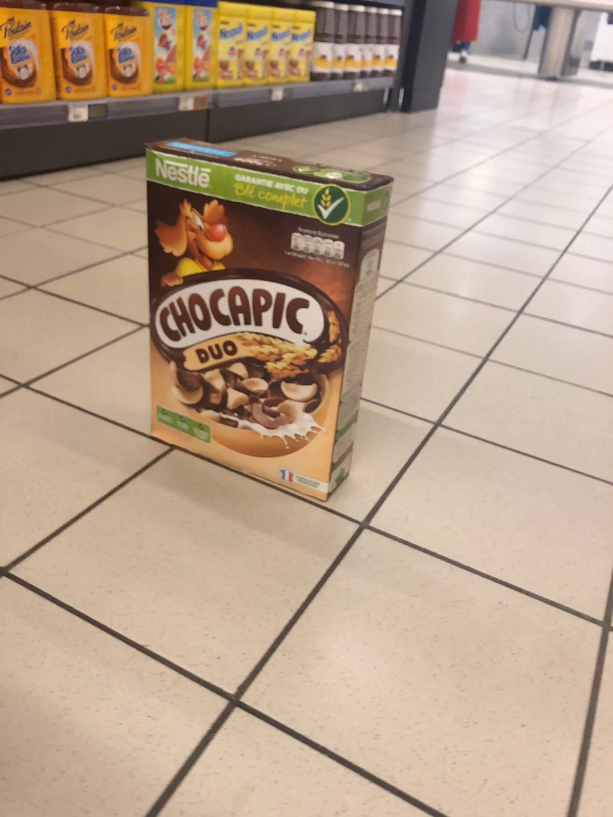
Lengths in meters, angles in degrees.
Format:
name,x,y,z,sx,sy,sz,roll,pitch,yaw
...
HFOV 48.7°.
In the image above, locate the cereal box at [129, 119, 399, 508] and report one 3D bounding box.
name,x,y,z,sx,sy,sz,roll,pitch,yaw
cereal box,-0.049,-0.079,0.573,0.200,0.278,0.060,19,30,21
